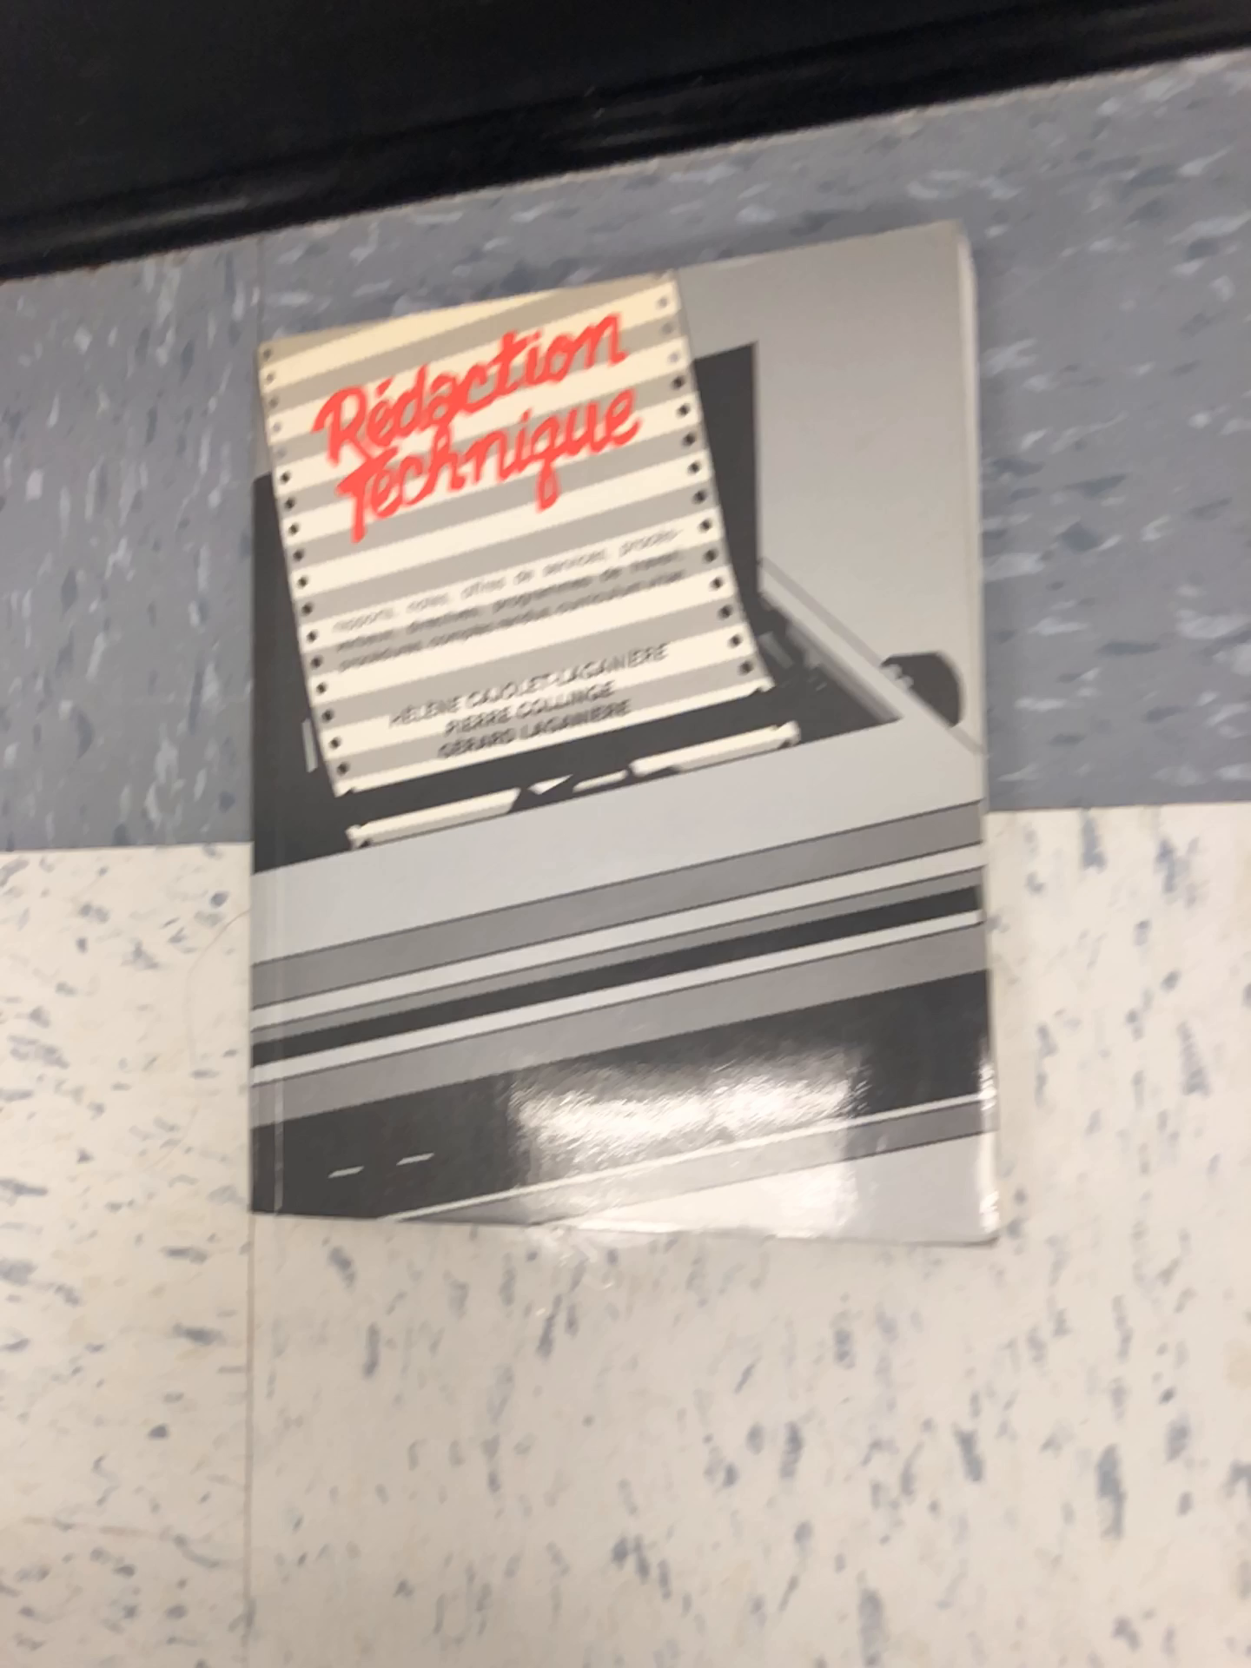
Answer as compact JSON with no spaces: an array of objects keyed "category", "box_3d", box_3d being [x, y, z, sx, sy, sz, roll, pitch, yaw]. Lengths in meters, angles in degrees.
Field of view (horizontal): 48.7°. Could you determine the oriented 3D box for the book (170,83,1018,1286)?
[{"category":"book","box_3d":[-0.011,-0.026,0.293,0.170,0.040,0.220,-3,85,17]}]
